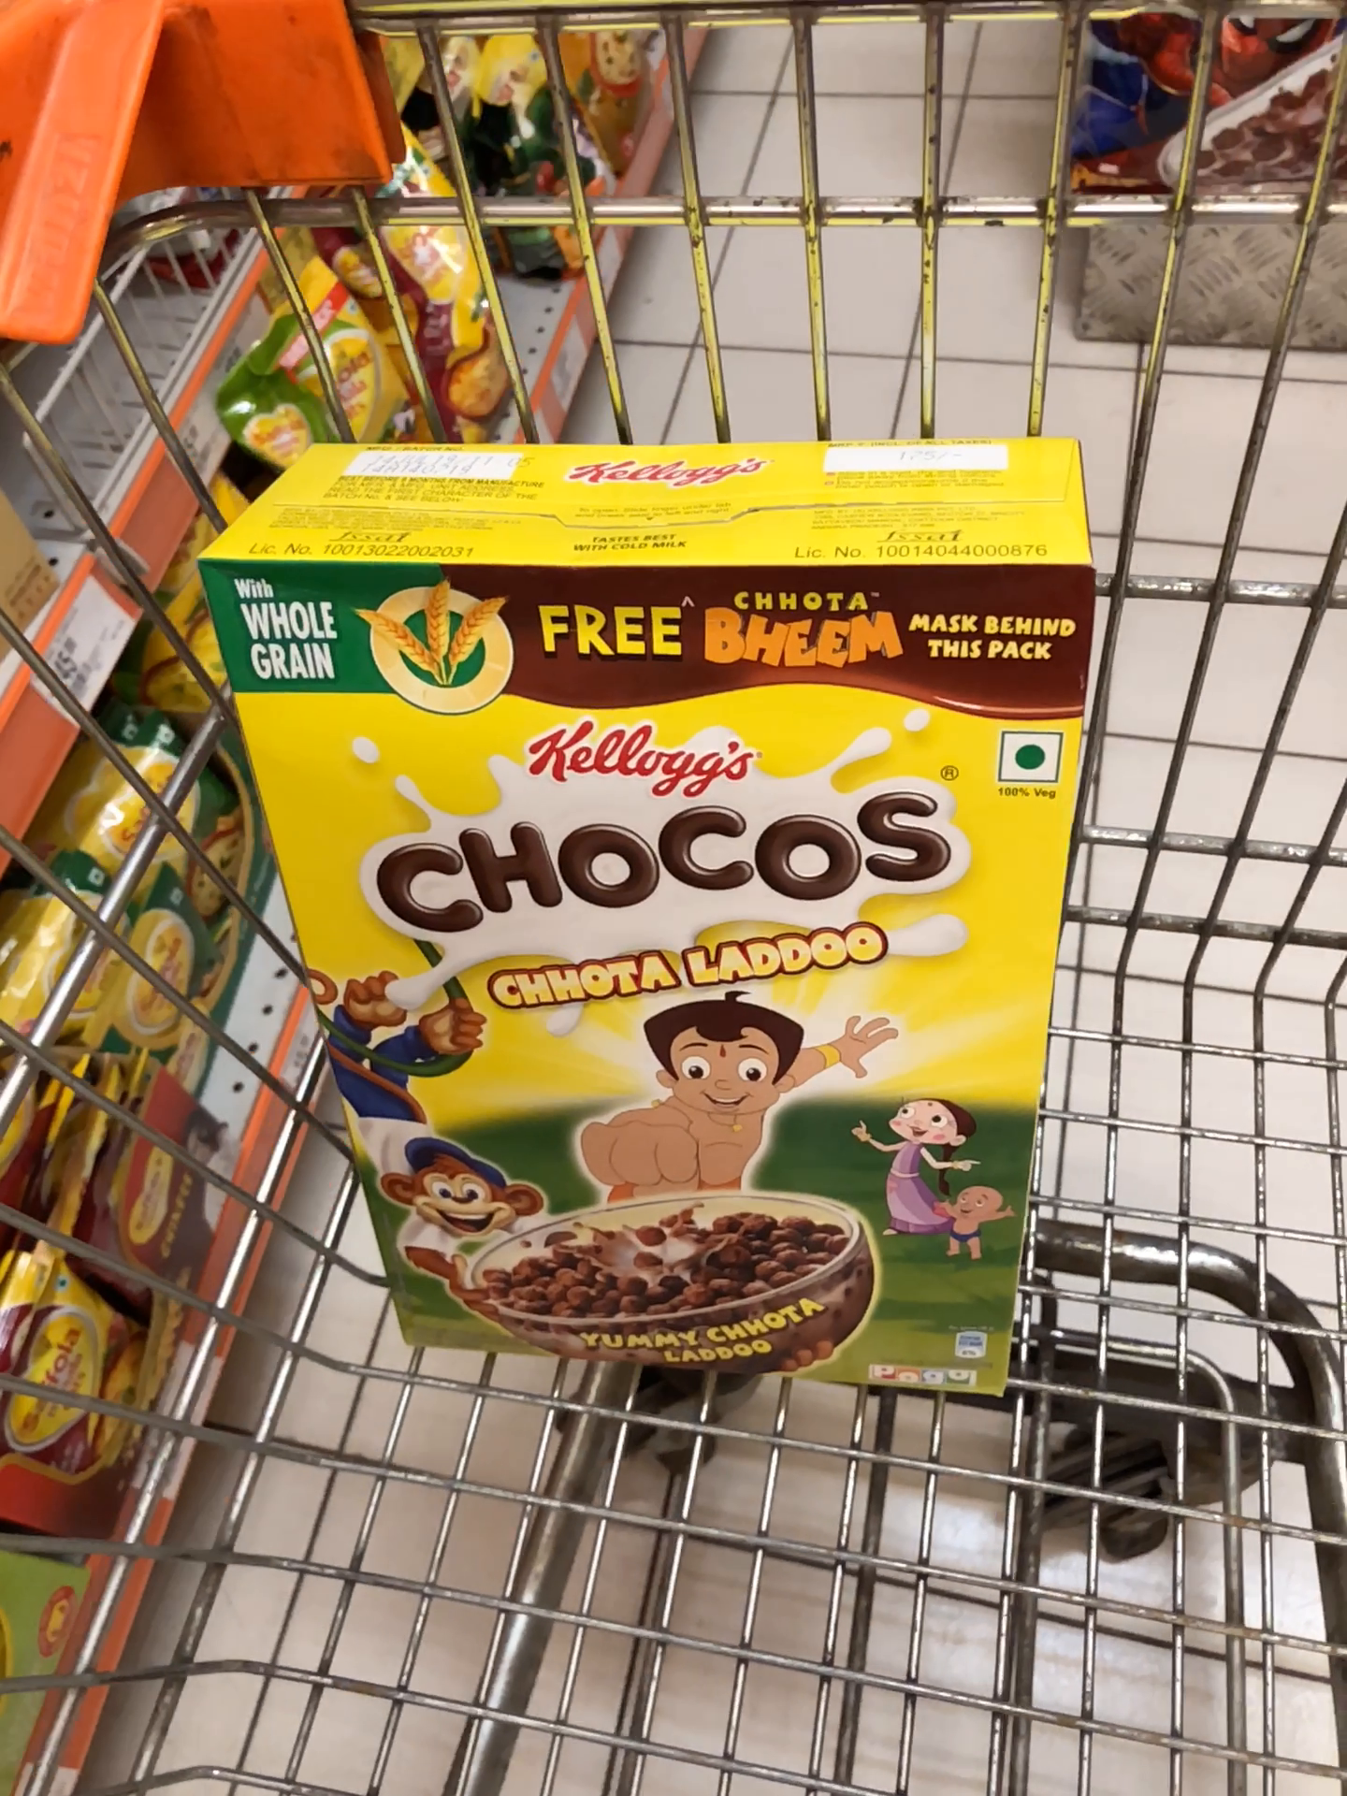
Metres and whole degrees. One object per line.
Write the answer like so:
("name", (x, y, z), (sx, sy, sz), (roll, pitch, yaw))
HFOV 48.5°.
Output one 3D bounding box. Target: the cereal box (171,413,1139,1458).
("cereal box", (0.006, 0.018, 0.374), (0.180, 0.249, 0.080), (2, 33, 10))
